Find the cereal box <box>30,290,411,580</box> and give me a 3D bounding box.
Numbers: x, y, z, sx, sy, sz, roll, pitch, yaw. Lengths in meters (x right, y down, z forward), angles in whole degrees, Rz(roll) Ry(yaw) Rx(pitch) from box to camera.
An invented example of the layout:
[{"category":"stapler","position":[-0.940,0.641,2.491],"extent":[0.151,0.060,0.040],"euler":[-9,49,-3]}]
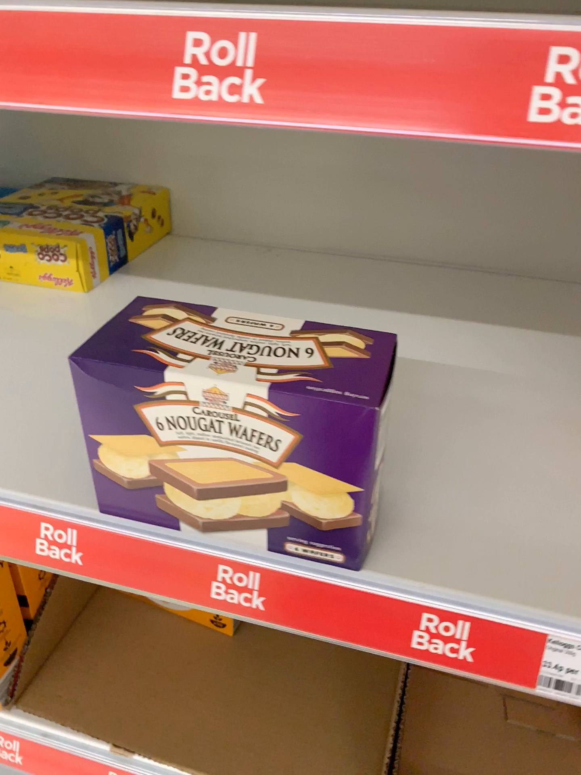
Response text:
[{"category":"cereal box","position":[-0.035,0.022,0.361],"extent":[0.190,0.109,0.091],"euler":[10,34,12]}]
